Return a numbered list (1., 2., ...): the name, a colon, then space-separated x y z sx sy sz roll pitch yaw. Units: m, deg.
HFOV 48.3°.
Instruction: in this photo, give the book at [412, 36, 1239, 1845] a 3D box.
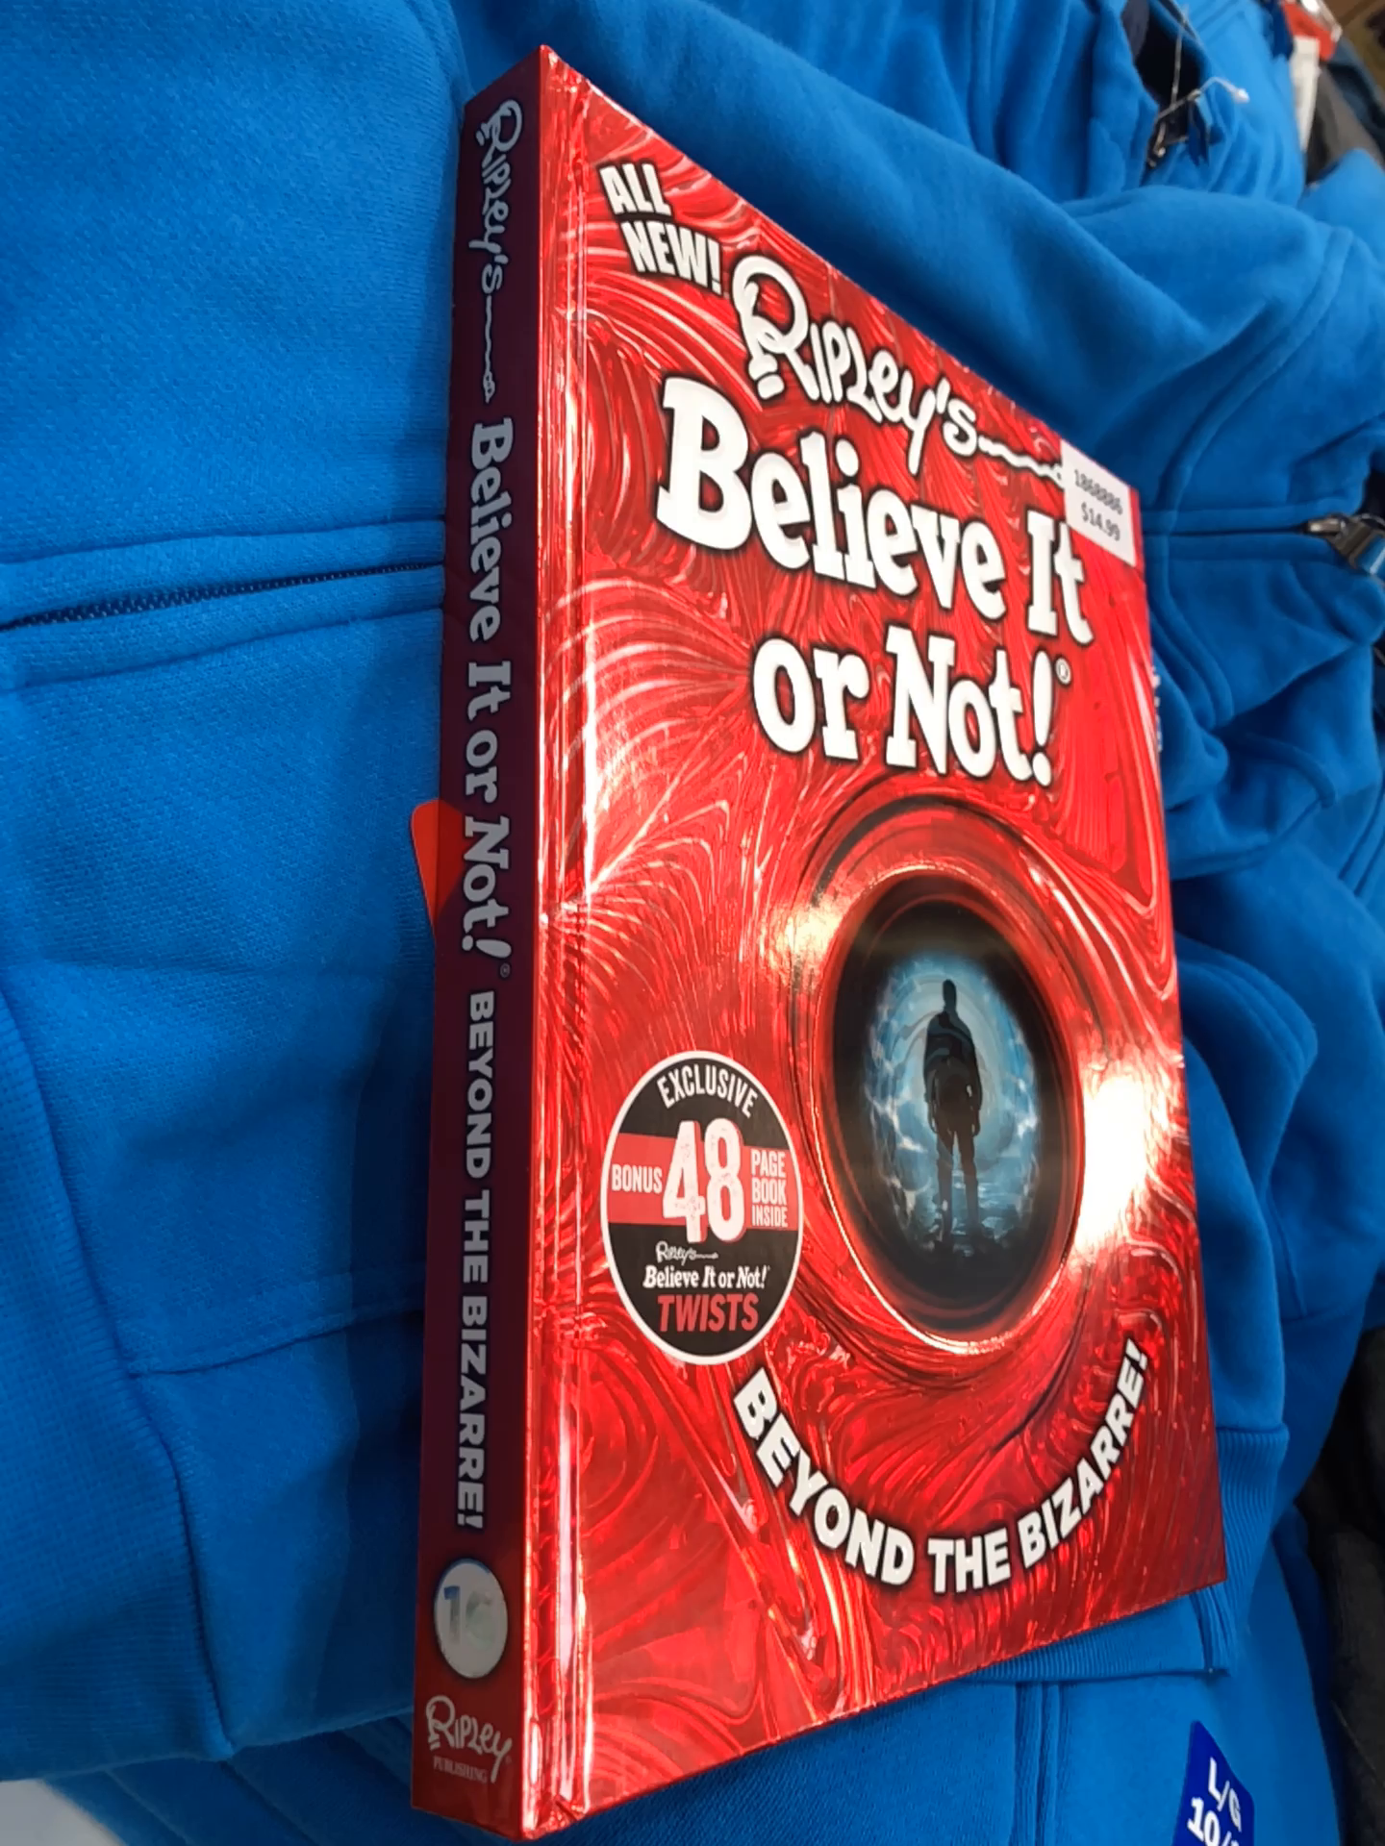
1. book: 0.049 0.005 0.351 0.245 0.027 0.303 13 72 -47
